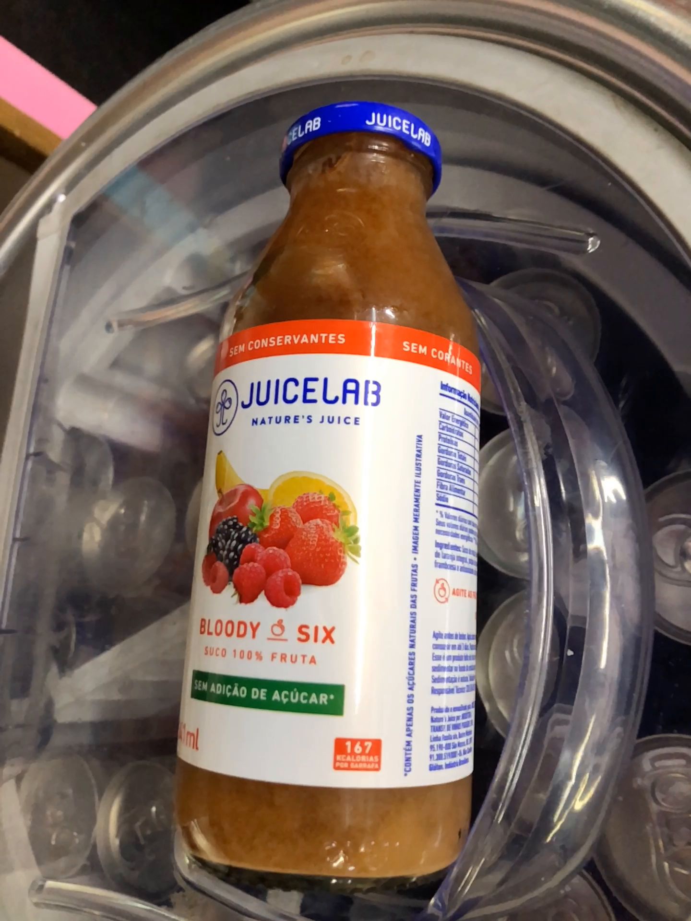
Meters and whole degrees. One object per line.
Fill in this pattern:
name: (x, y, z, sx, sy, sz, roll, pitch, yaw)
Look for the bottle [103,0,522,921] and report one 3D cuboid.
bottle: (0.002, -0.009, 0.189, 0.070, 0.060, 0.190, -1, 75, 20)
